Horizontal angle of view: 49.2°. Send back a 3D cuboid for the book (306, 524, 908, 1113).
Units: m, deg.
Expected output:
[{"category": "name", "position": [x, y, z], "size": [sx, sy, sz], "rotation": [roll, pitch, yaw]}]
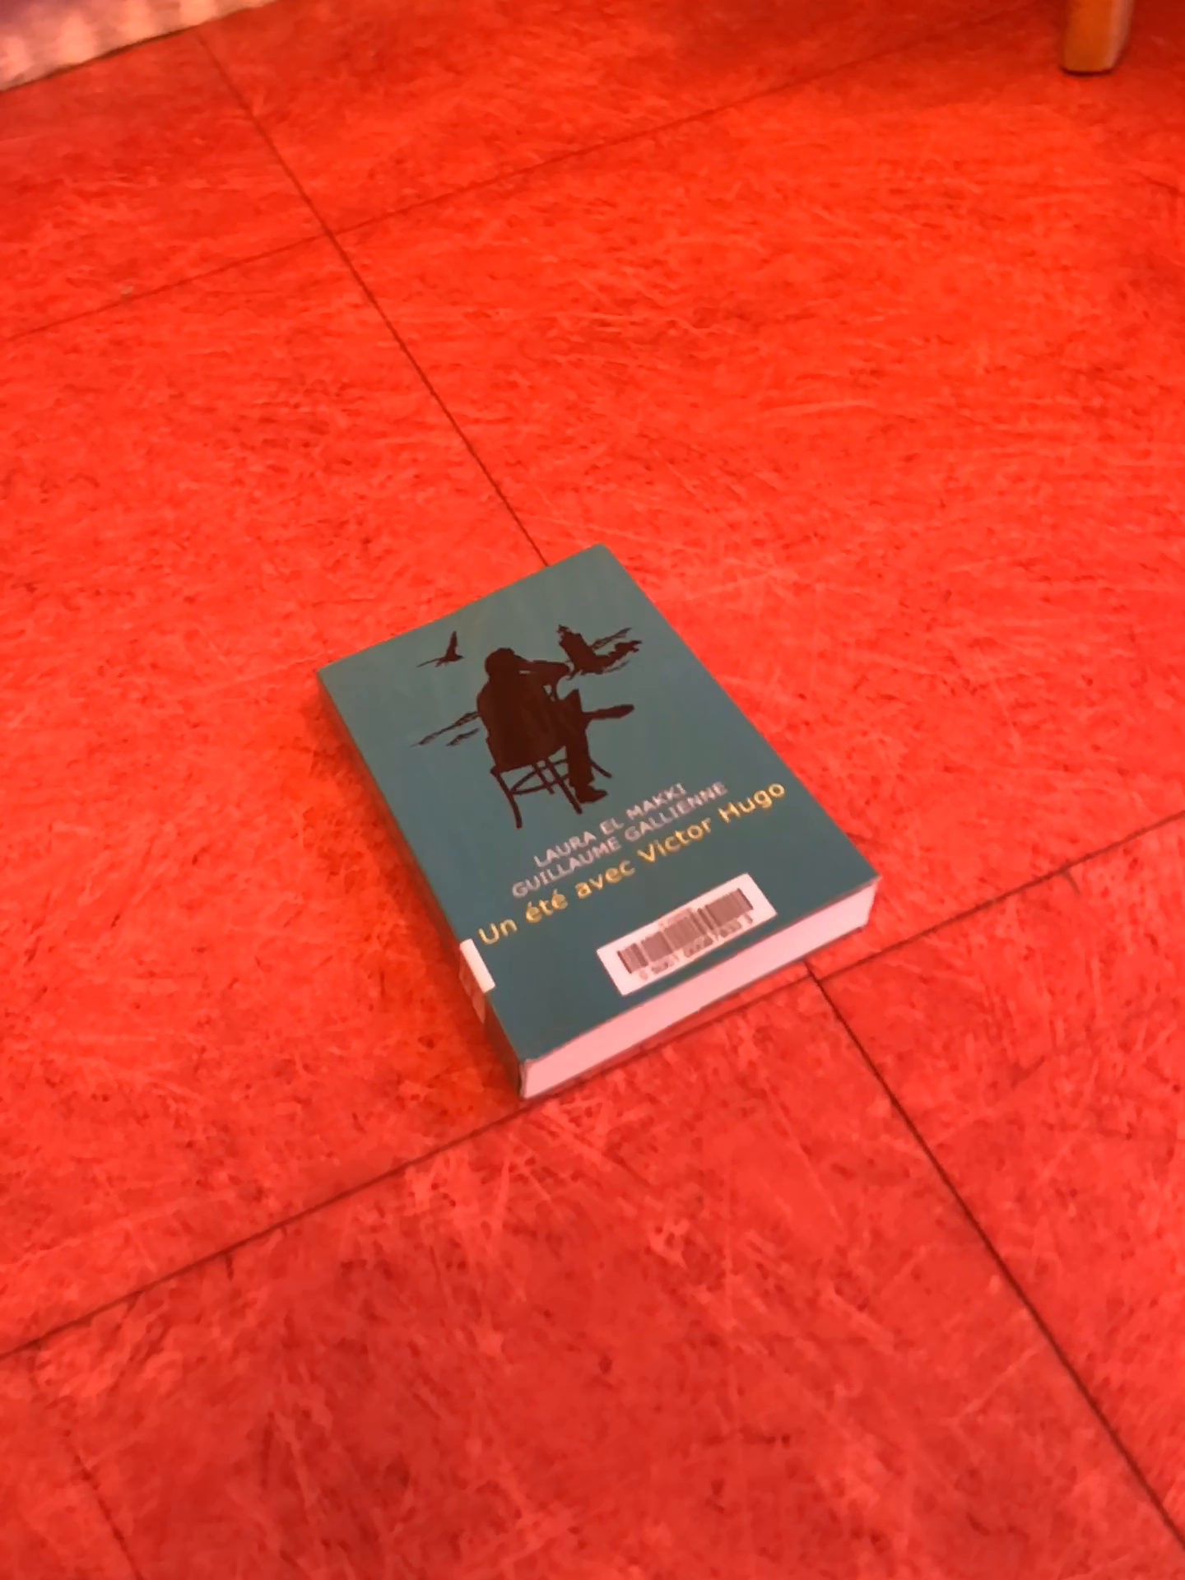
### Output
[{"category": "book", "position": [-0.004, -0.004, 0.379], "size": [0.110, 0.020, 0.171], "rotation": [-25, 50, -11]}]
